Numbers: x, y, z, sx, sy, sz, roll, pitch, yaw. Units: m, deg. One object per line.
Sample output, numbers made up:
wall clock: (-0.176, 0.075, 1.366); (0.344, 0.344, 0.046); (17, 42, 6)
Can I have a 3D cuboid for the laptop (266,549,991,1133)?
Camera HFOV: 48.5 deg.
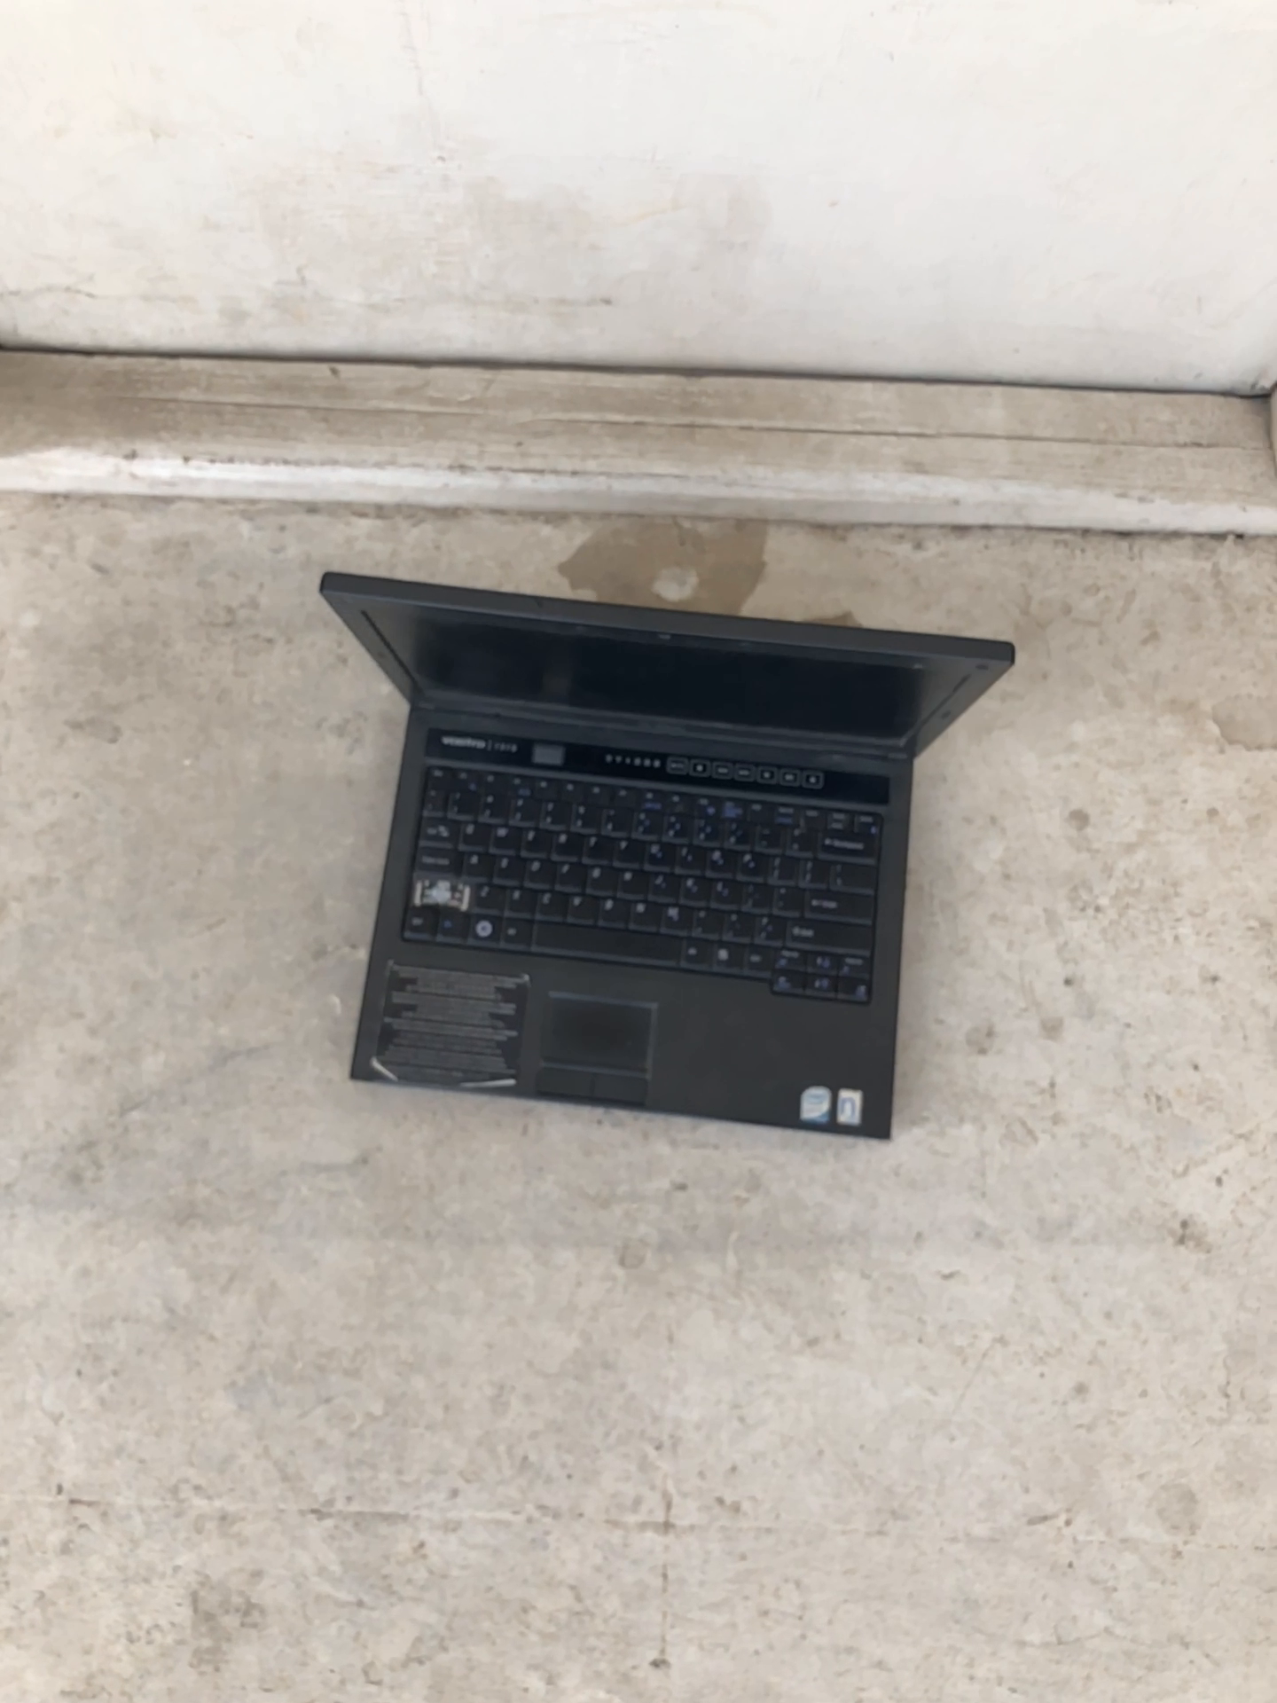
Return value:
laptop: (-0.001, 0.011, 0.722); (0.292, 0.220, 0.213); (6, 76, 2)
